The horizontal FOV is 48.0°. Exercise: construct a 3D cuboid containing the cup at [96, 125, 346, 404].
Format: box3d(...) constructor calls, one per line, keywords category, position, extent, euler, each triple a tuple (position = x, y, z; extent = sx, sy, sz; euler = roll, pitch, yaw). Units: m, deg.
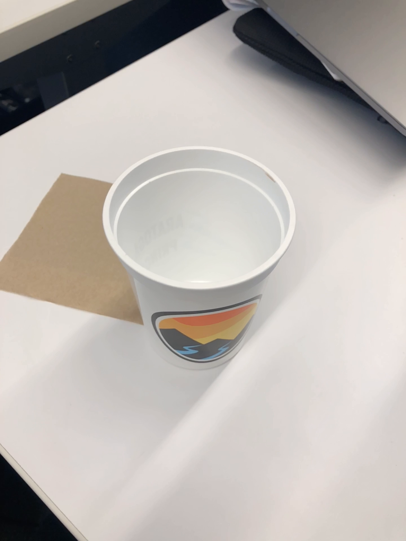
box3d(category="cup", position=(0.001, -0.001, 0.235), extent=(0.090, 0.100, 0.090), euler=(0, 52, -1))
